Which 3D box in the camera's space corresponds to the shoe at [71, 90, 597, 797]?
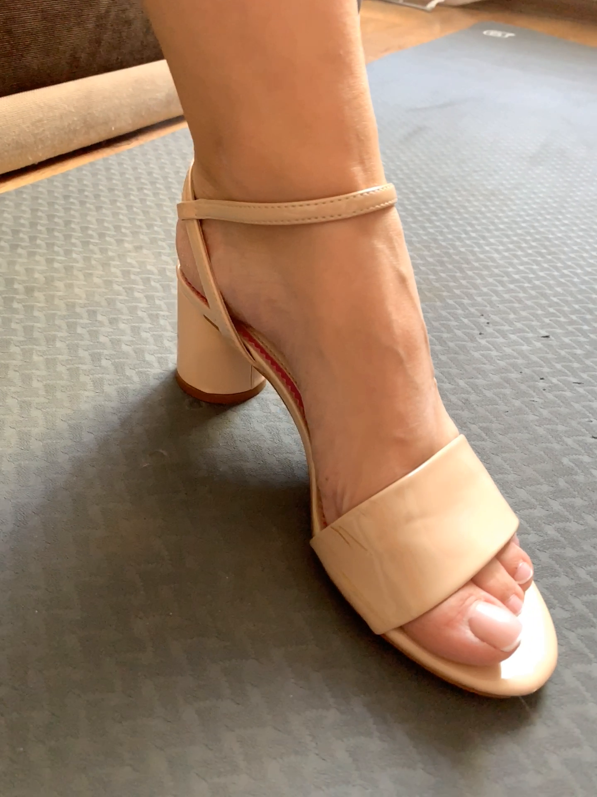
[{"bbox_3d":[0.018,-0.014,0.231,0.090,0.119,0.251,-24,49,-32],"label":"shoe"}]
